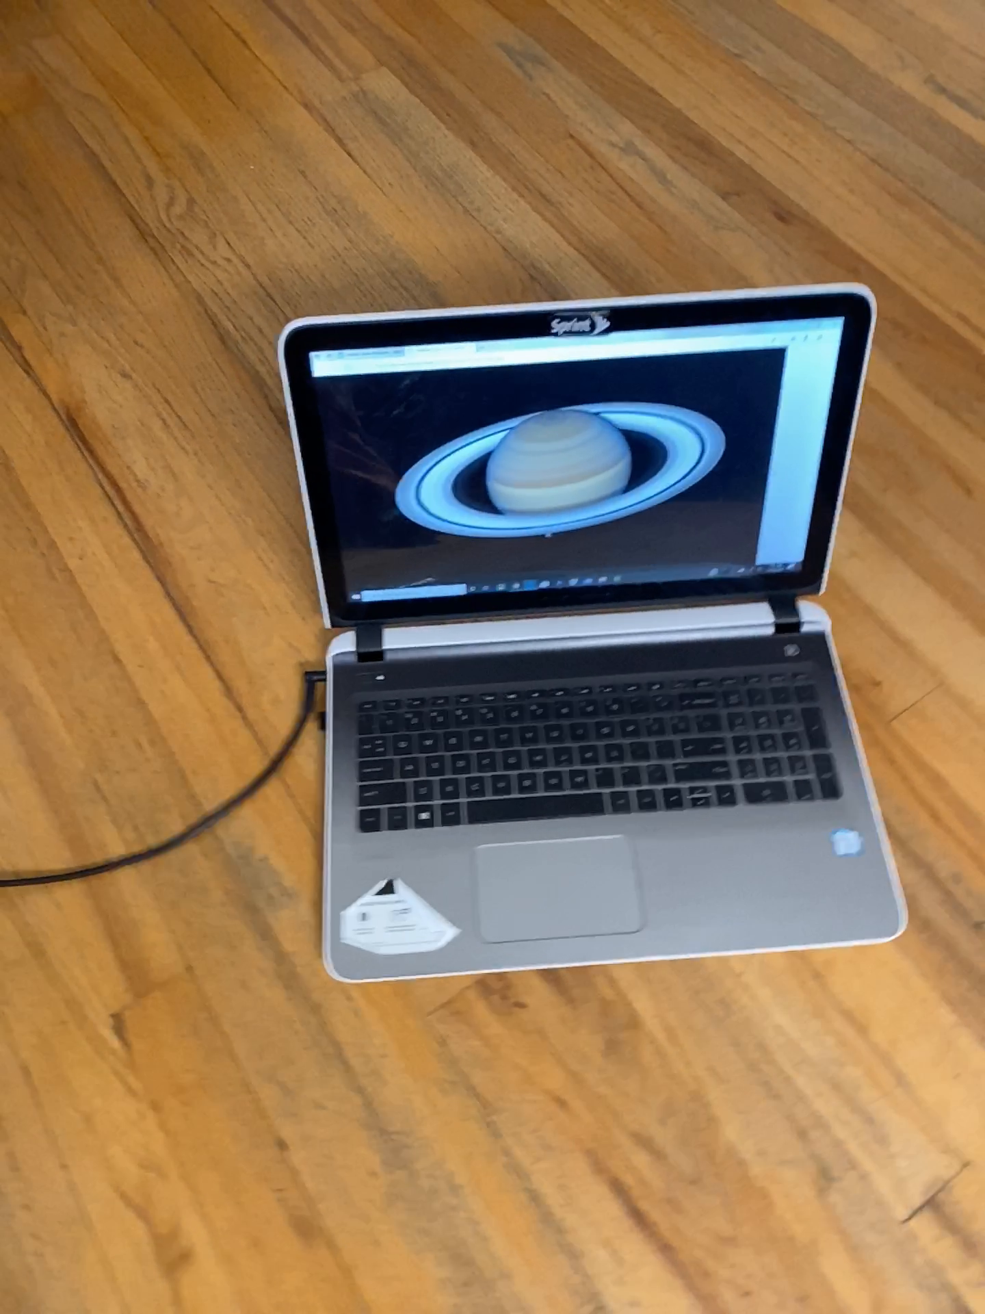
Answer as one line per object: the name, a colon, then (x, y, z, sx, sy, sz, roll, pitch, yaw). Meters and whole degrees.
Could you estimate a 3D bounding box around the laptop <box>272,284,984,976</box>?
laptop: (0.069, -0.018, 0.645, 0.371, 0.202, 0.364, -4, 62, -2)
